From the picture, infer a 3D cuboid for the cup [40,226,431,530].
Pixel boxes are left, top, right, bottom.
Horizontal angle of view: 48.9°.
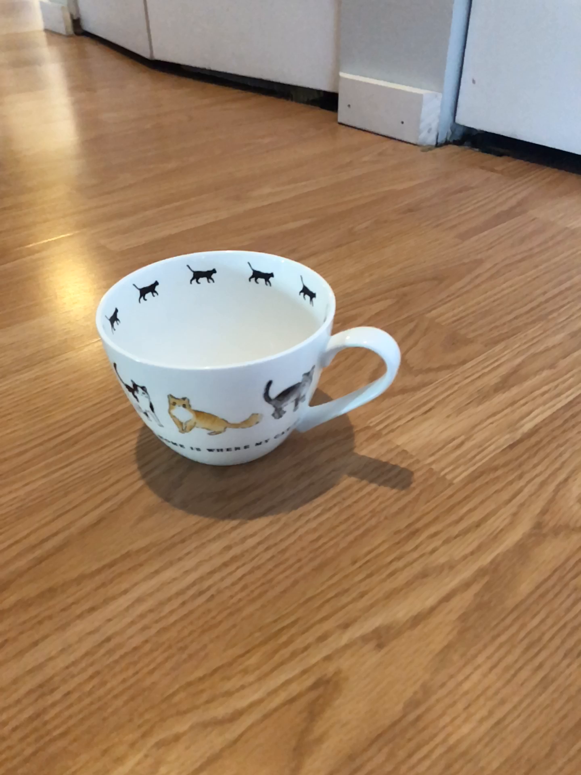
[{"bbox_3d":[-0.020,-0.016,0.343,0.160,0.080,0.120,12,39,17],"label":"cup"}]
